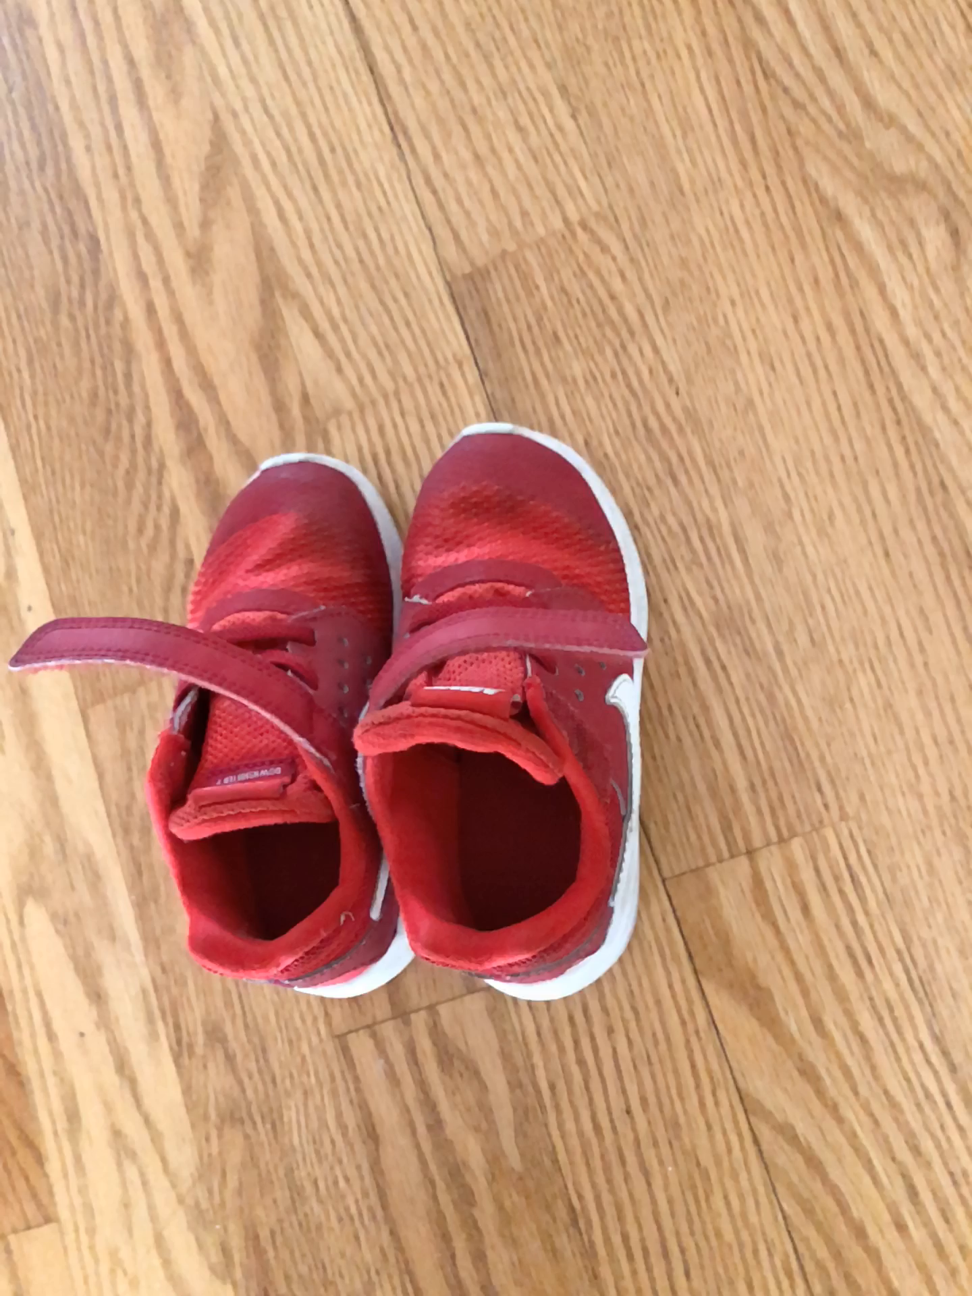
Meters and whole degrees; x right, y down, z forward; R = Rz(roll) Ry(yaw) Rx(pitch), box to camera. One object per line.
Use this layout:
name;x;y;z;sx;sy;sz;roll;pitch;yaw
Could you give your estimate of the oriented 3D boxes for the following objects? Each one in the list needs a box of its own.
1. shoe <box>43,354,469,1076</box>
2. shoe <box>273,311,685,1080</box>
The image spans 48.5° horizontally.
shoe;-0.064;0.020;0.310;0.081;0.069;0.175;-10;81;14
shoe;0.000;0.014;0.292;0.088;0.069;0.177;-5;83;15
